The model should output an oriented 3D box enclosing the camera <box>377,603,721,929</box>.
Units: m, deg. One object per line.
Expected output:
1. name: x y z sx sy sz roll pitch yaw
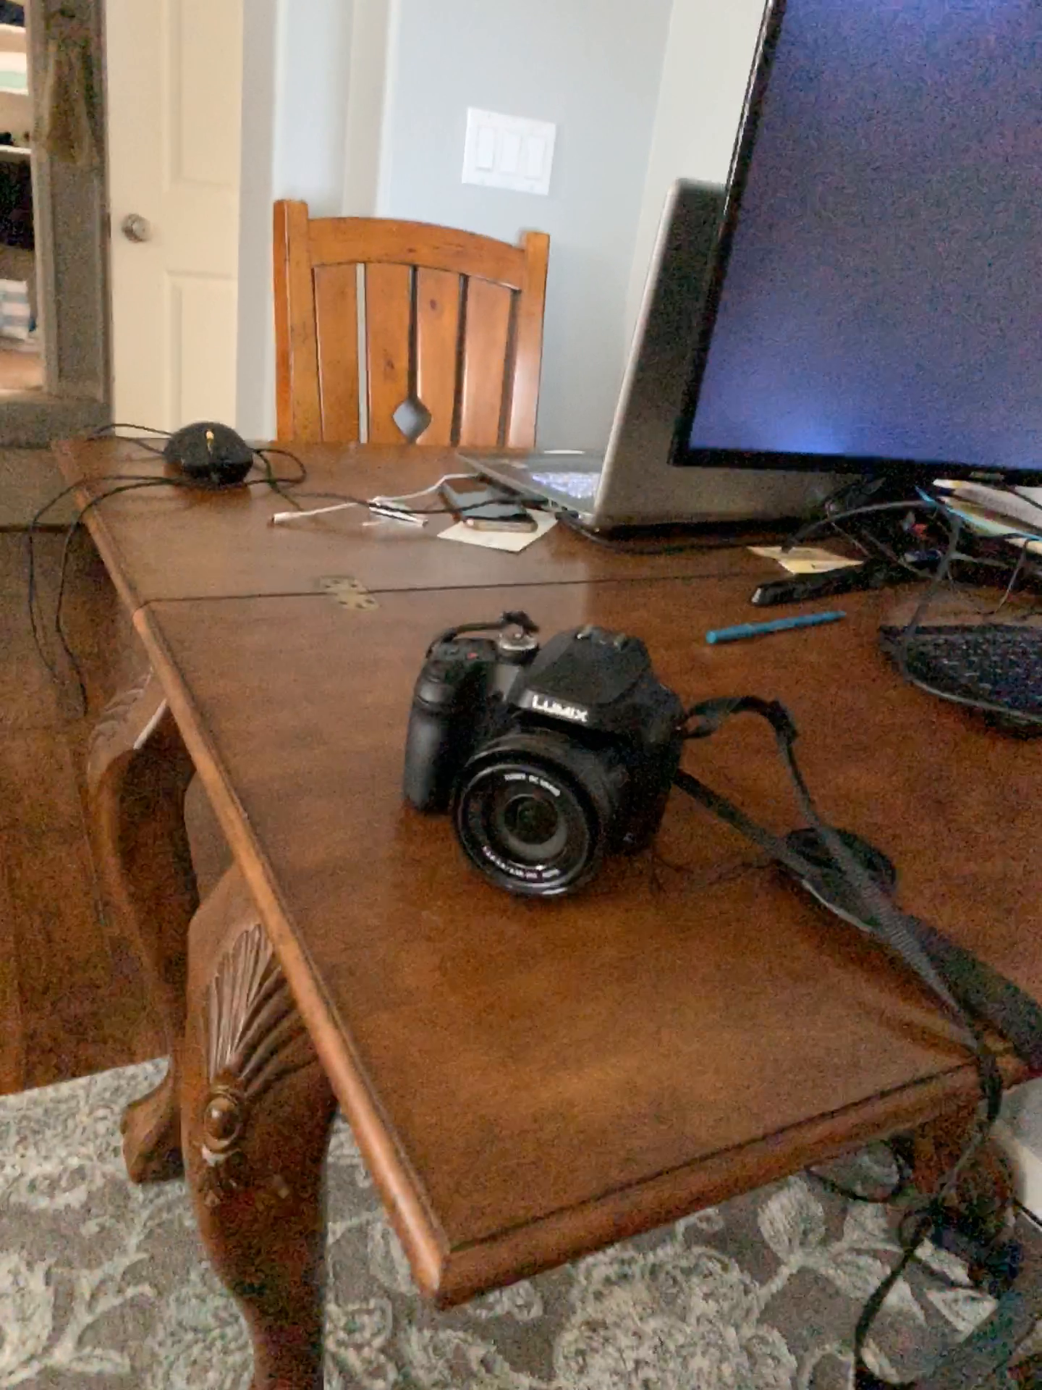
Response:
1. camera: 0.016 0.027 0.519 0.130 0.089 0.111 14 24 13
